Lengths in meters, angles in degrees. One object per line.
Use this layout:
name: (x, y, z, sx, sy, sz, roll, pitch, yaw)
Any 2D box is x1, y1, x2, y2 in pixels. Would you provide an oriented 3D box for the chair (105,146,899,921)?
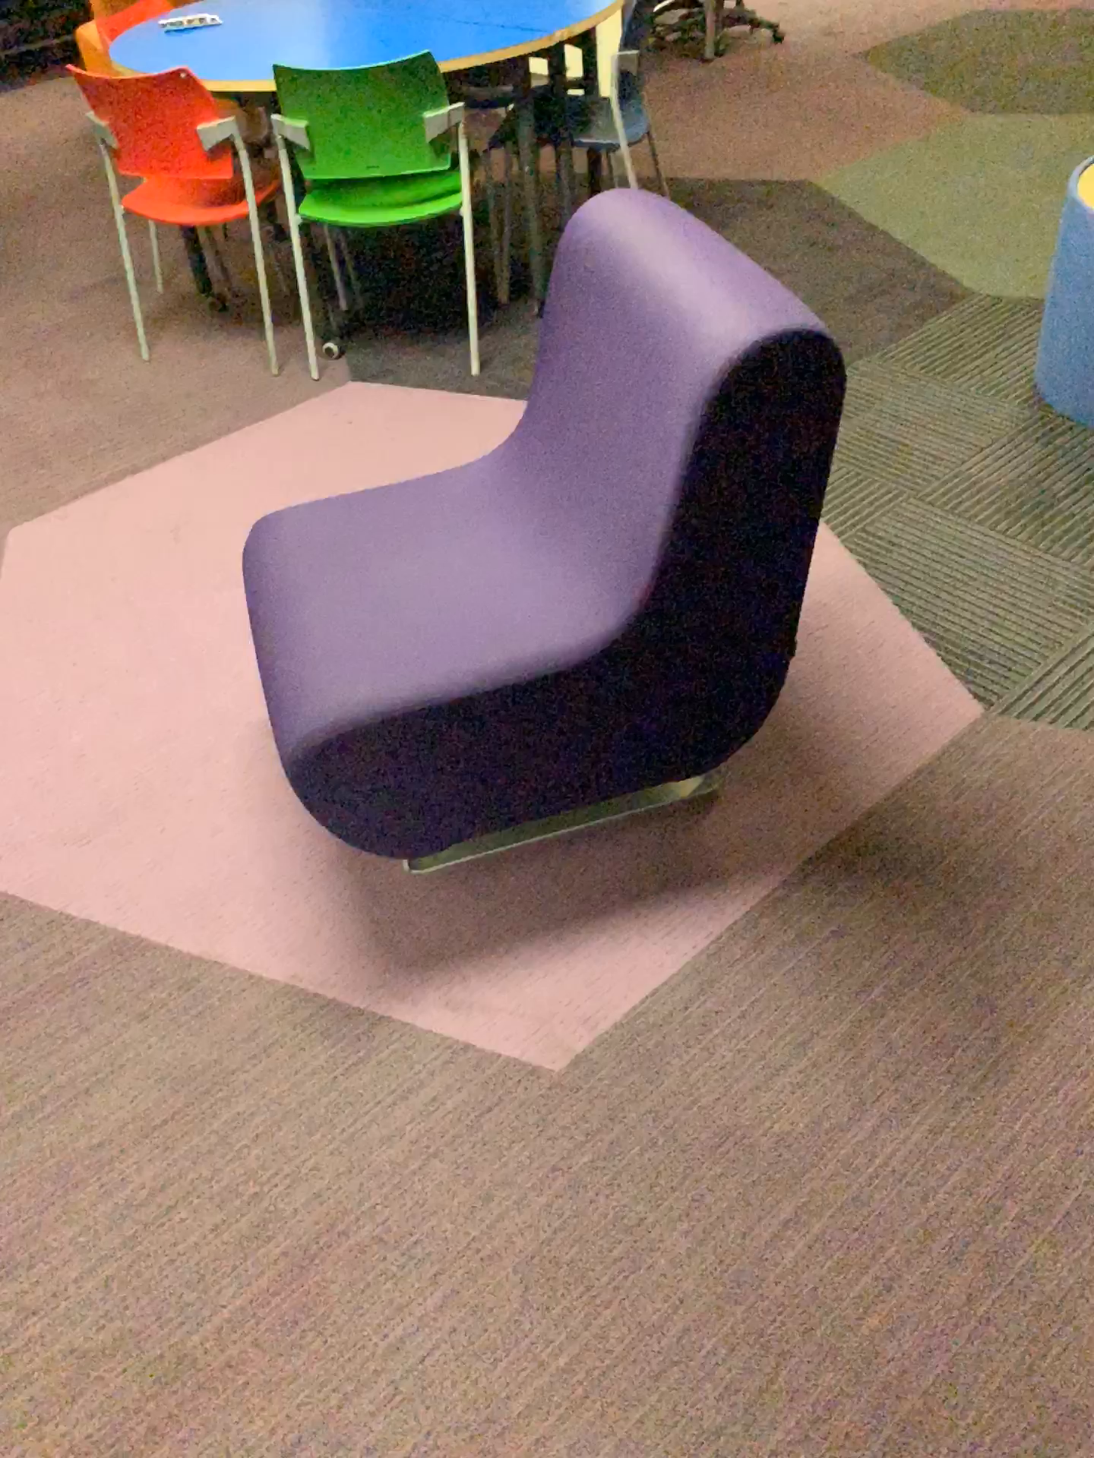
chair: (-0.108, -0.338, 1.615, 0.821, 0.614, 0.807, -16, 43, -10)
